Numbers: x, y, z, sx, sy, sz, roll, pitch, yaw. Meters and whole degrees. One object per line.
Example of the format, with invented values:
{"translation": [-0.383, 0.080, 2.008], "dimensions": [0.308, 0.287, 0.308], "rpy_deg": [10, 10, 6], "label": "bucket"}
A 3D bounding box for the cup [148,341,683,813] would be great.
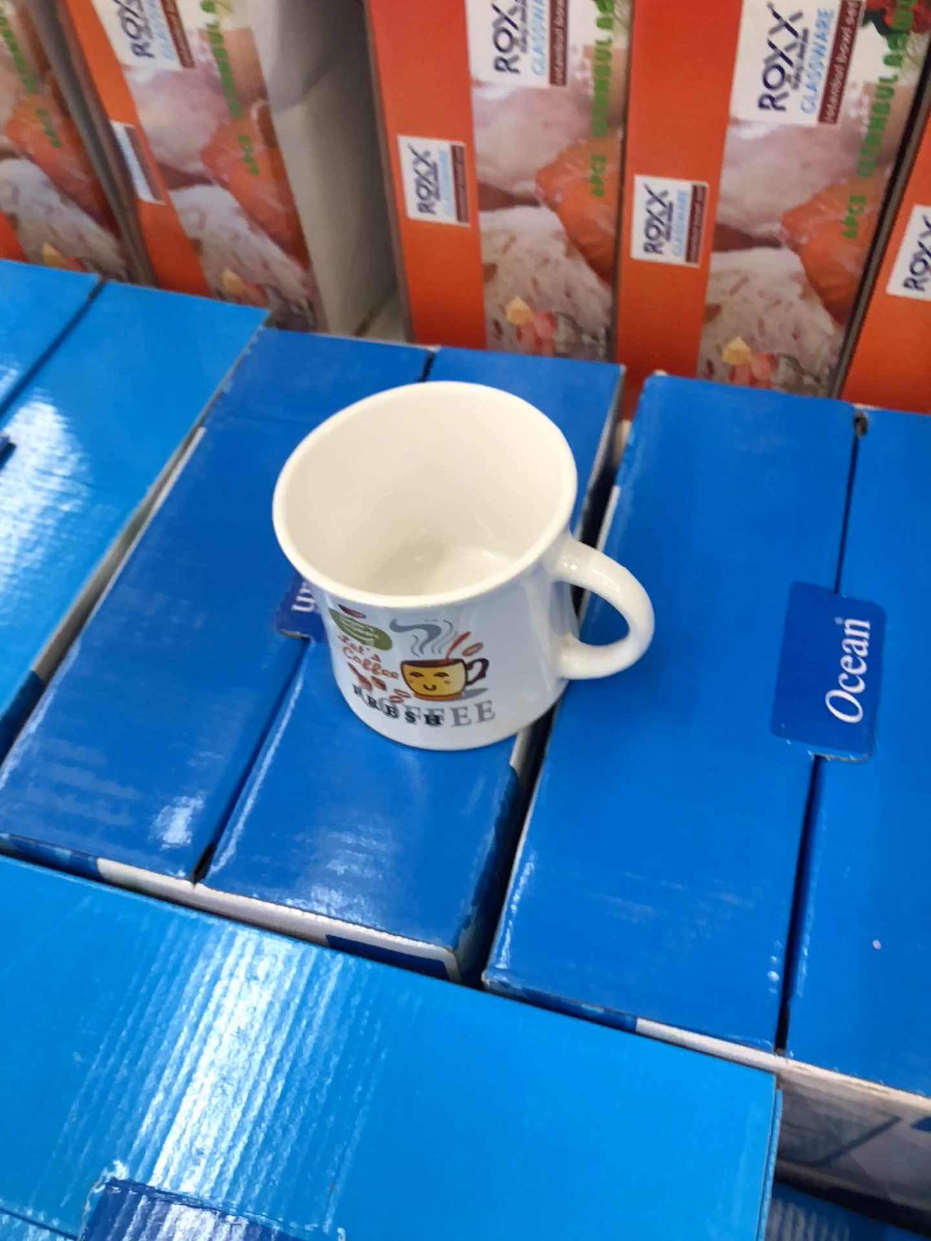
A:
{"translation": [-0.007, -0.011, 0.256], "dimensions": [0.100, 0.070, 0.070], "rpy_deg": [12, 57, 12], "label": "cup"}
